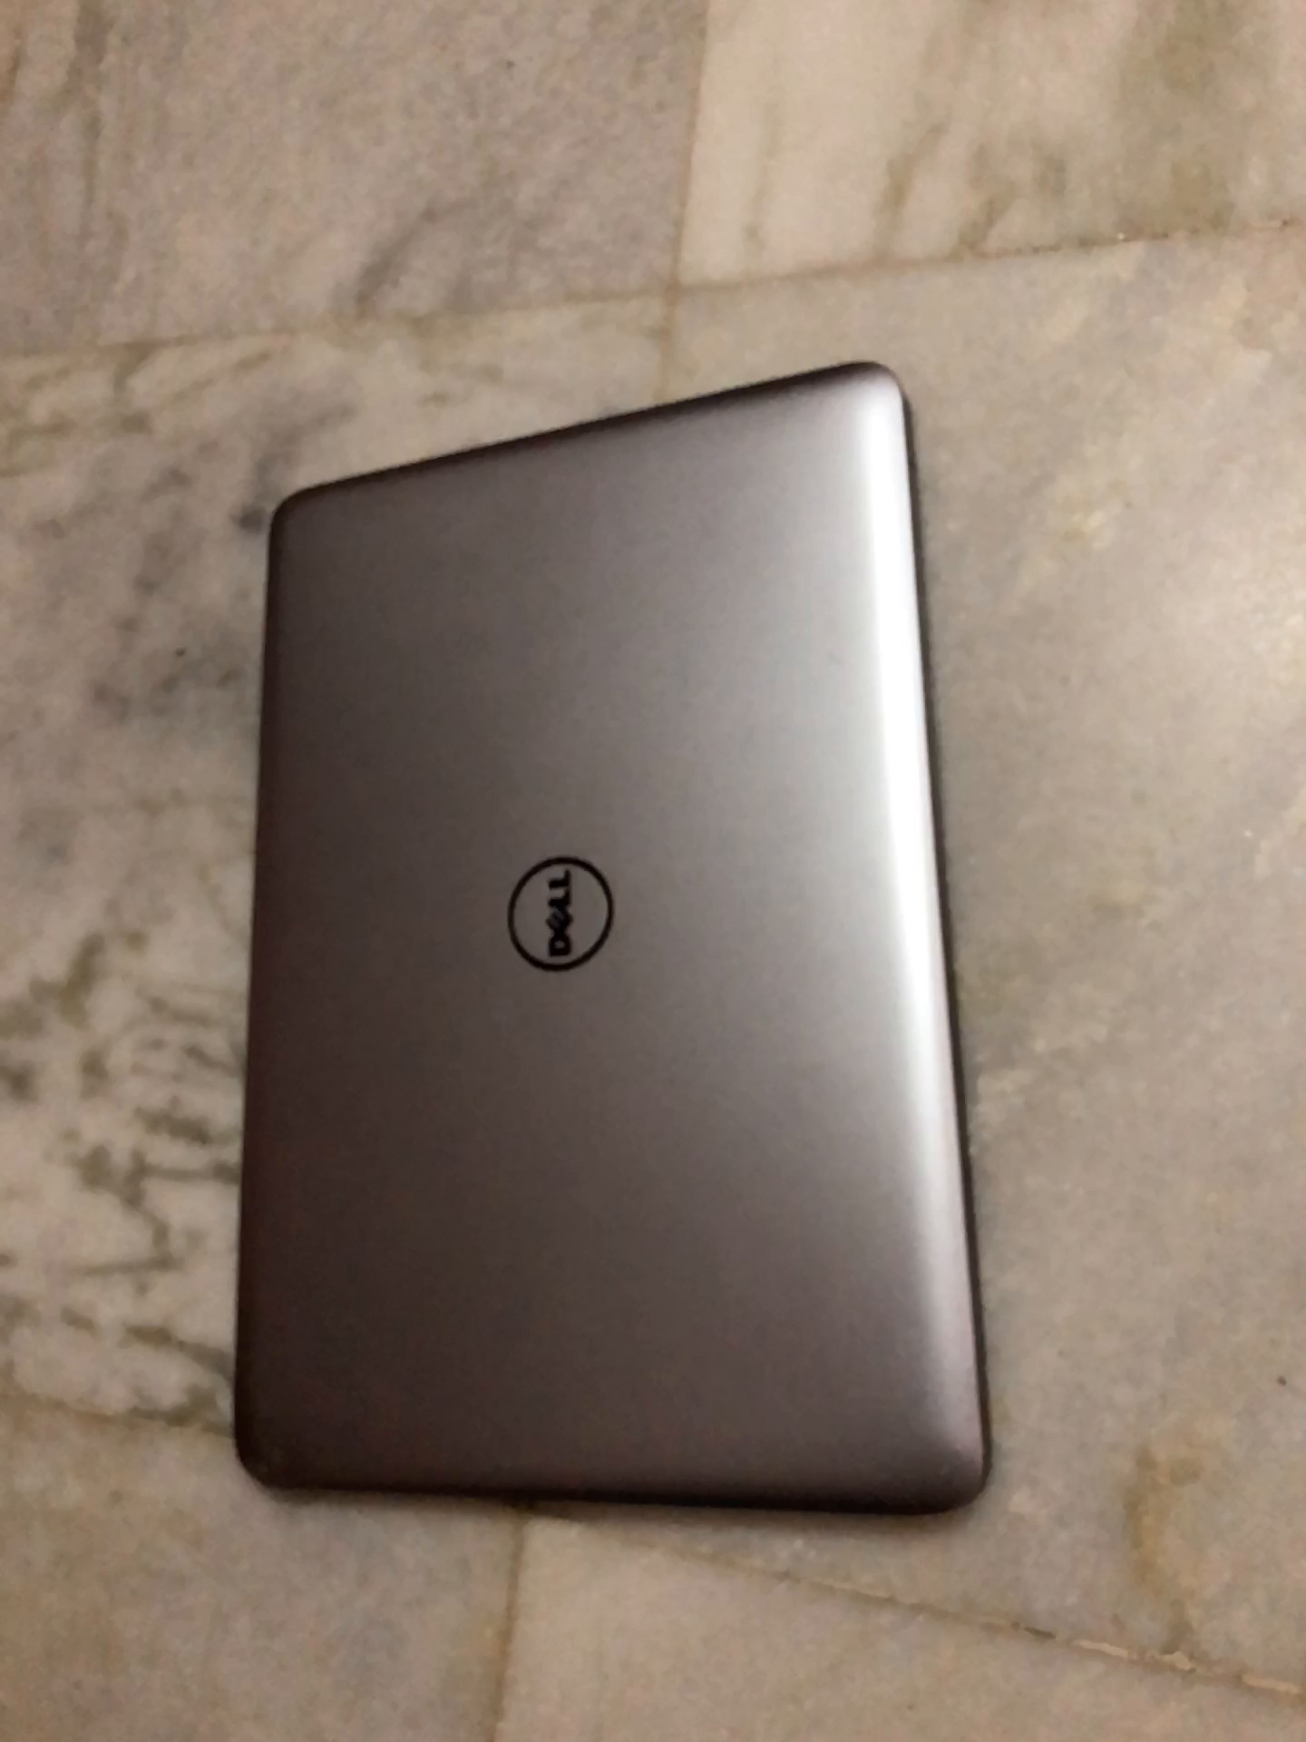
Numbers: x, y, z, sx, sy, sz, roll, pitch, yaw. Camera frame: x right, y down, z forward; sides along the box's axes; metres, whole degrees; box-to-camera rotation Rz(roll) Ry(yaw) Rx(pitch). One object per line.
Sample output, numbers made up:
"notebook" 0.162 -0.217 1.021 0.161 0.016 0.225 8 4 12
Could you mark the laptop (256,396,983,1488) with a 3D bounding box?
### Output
"laptop" -0.026 0.022 0.495 0.244 0.002 0.346 -7 75 20
